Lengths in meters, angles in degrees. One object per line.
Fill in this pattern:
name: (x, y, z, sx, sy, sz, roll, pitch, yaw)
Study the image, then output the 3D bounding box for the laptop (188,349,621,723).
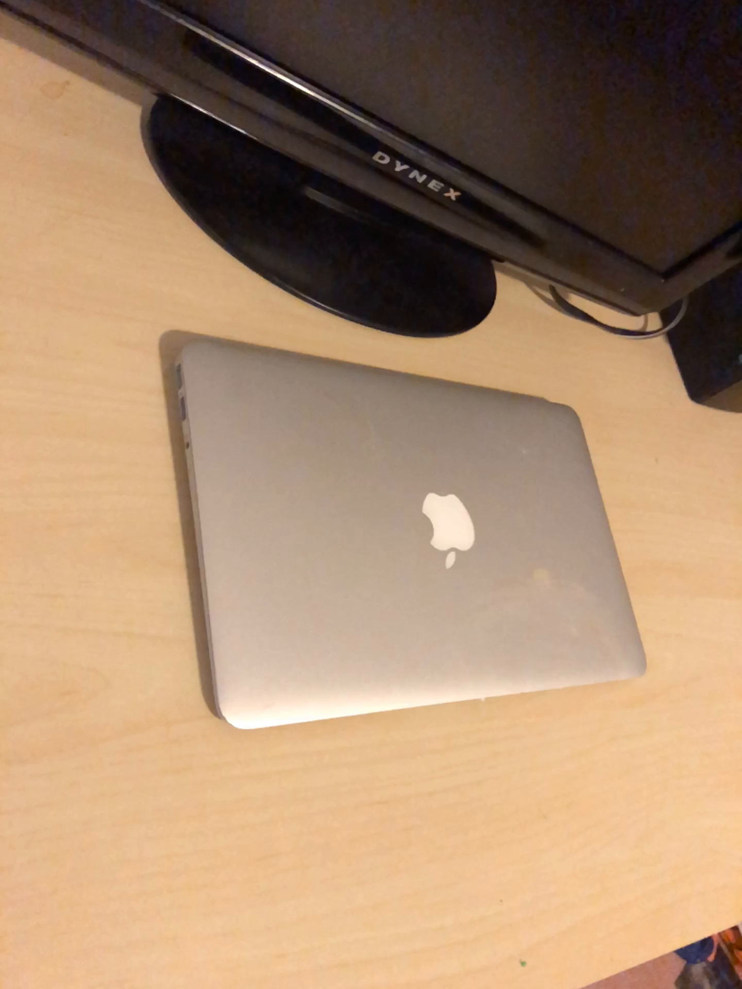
laptop: (0.034, 0.020, 0.465, 0.279, 0.005, 0.181, 4, 68, -38)
